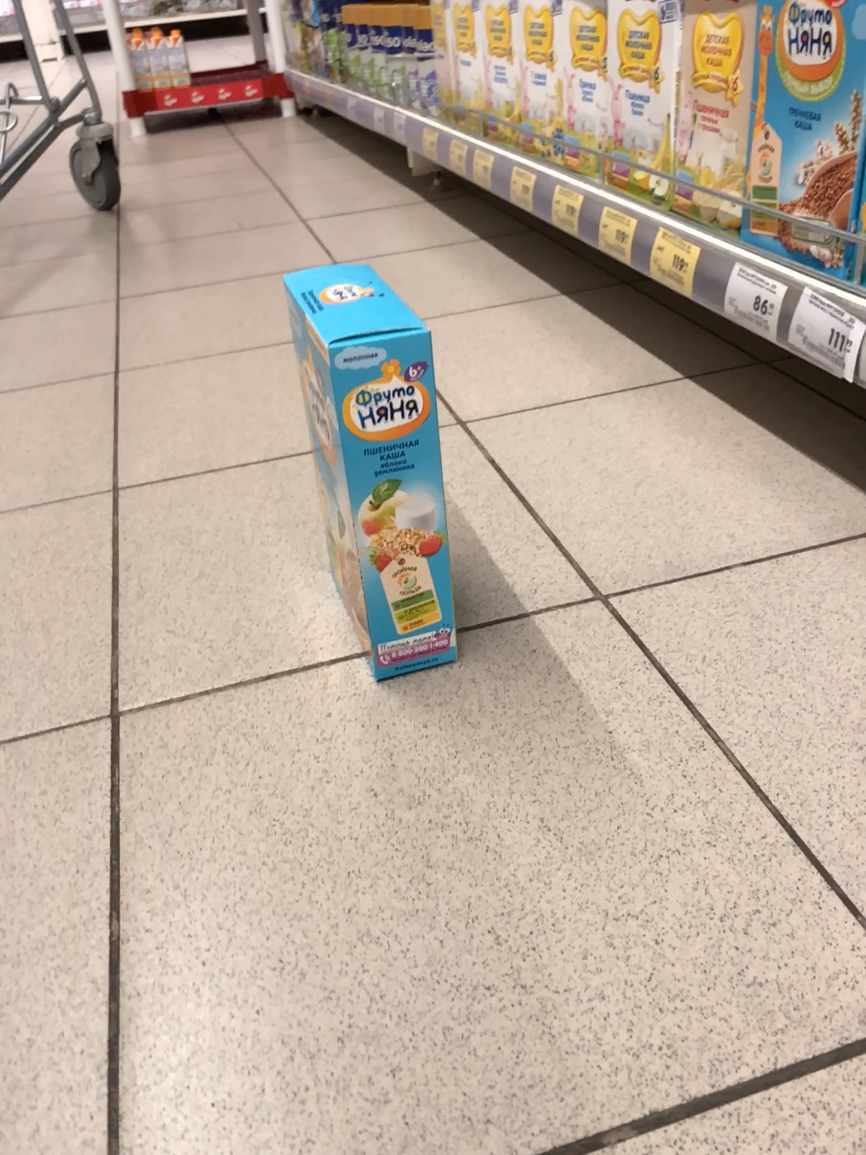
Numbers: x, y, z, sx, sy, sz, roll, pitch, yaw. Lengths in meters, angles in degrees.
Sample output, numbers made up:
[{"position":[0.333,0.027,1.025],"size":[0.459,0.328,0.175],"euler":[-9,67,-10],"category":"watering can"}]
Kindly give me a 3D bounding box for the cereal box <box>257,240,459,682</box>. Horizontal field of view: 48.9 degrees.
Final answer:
[{"position":[-0.042,-0.068,0.536],"size":[0.060,0.199,0.141],"euler":[-13,33,-11],"category":"cereal box"}]
